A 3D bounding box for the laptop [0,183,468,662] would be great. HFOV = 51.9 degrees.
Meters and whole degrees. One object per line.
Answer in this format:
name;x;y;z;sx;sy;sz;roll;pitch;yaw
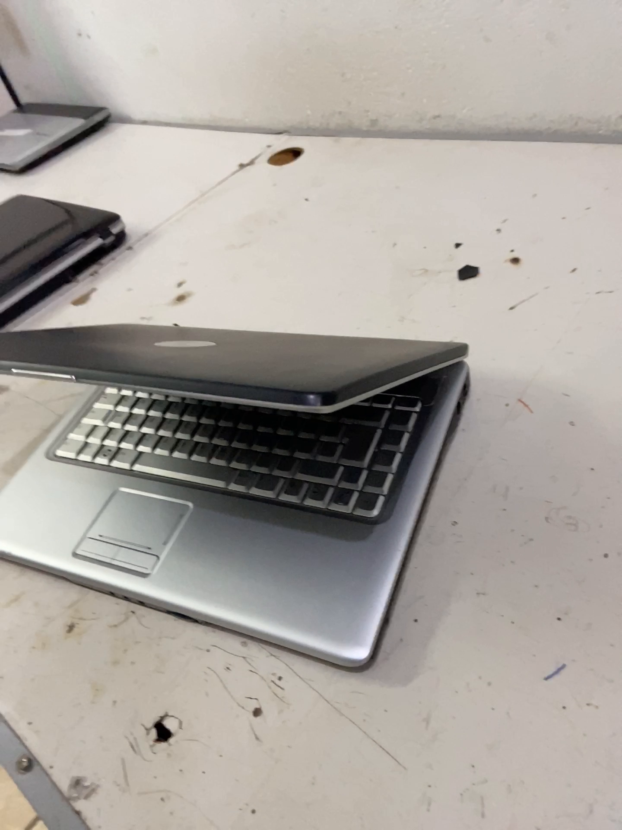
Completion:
laptop;-0.098;-0.021;0.449;0.347;0.145;0.238;7;50;27
